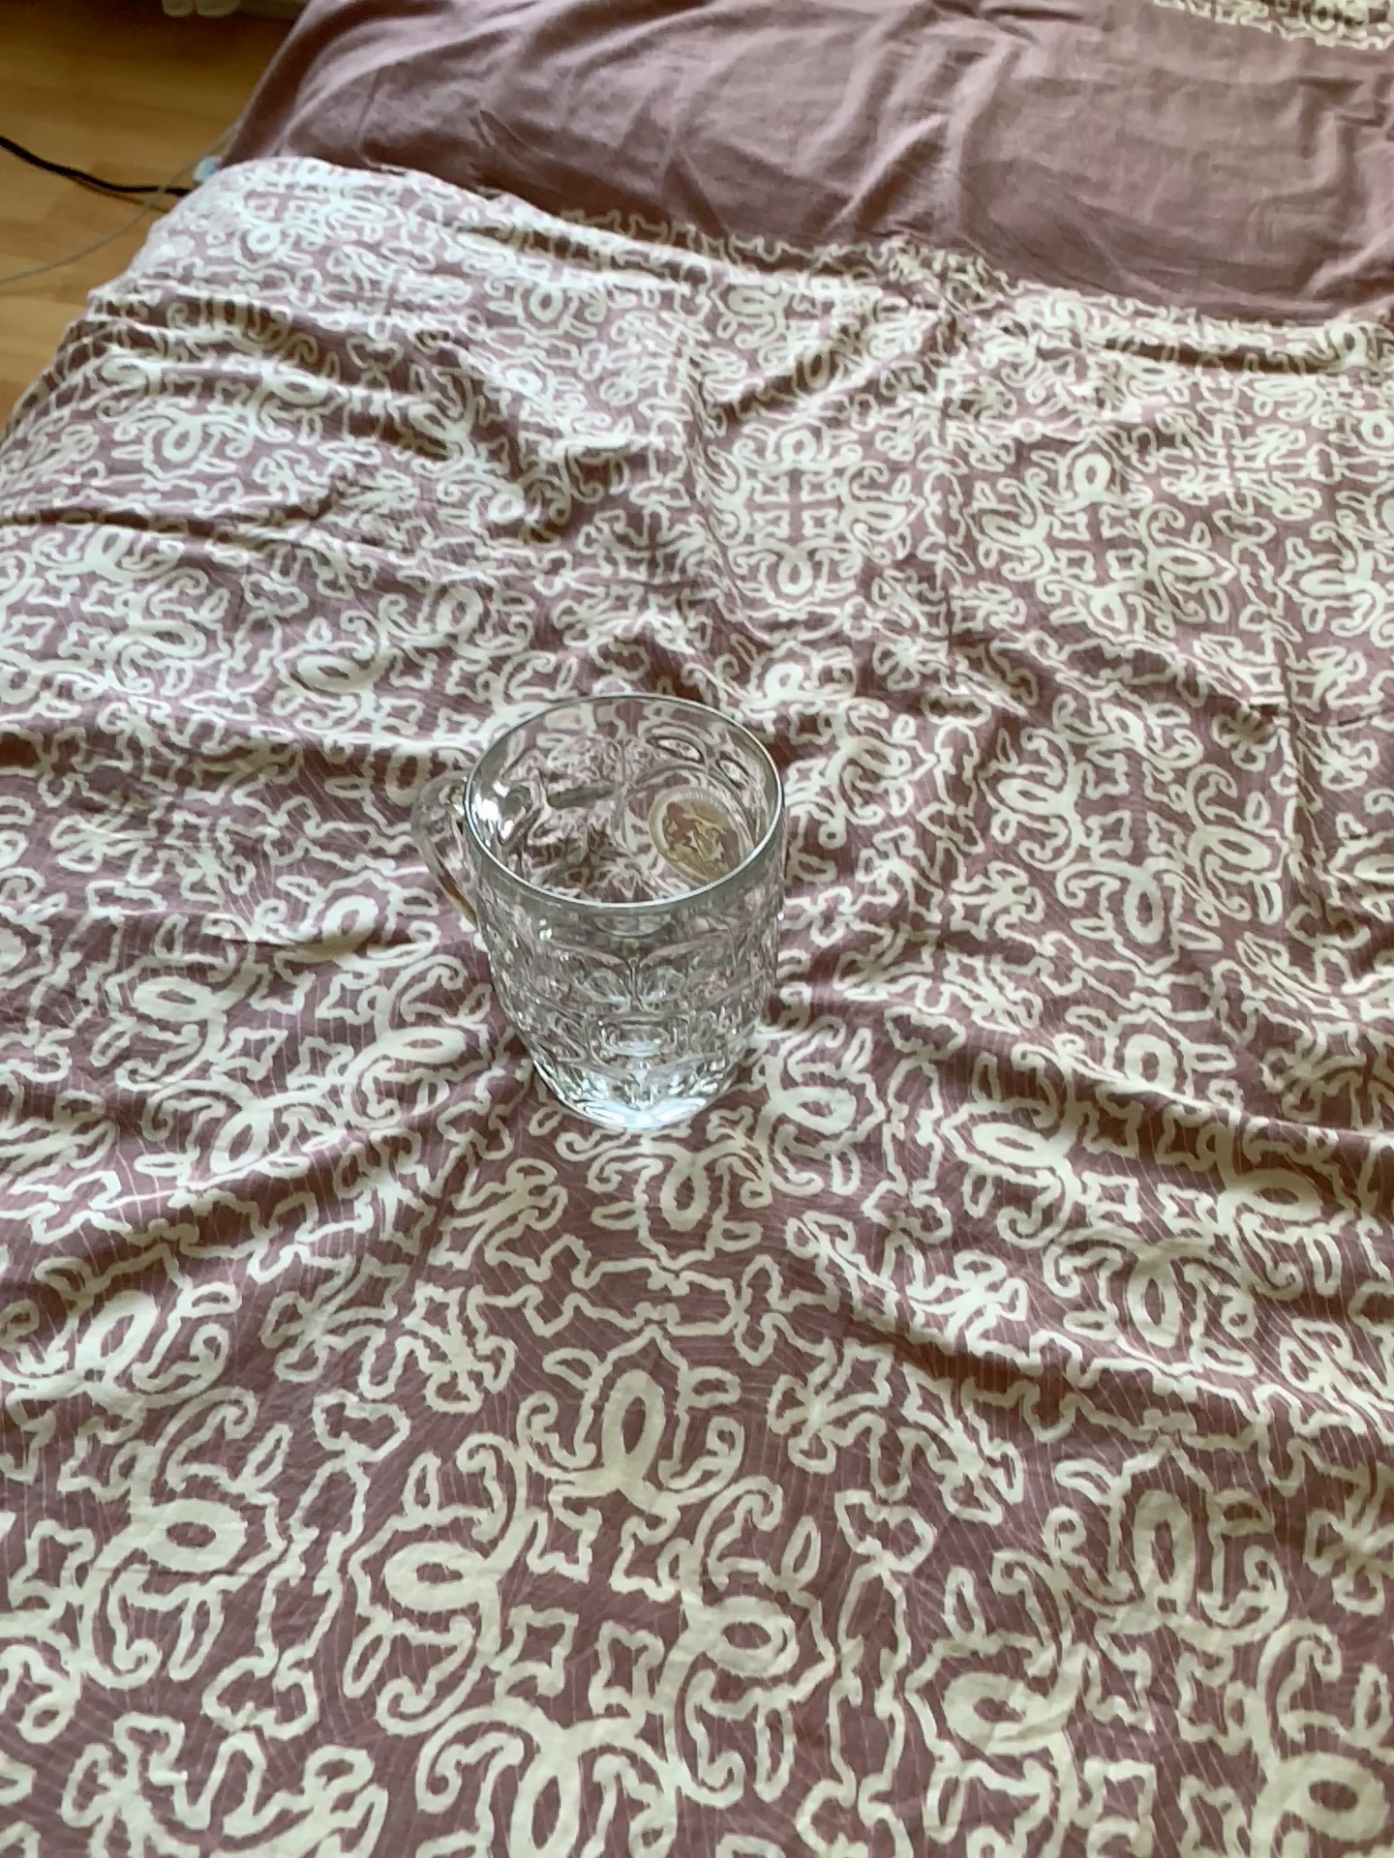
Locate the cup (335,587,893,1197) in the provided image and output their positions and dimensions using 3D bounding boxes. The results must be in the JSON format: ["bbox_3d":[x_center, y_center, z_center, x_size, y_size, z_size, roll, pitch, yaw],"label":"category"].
[{"bbox_3d":[-0.025,-0.013,0.425,0.120,0.109,0.090,29,51,21],"label":"cup"}]
